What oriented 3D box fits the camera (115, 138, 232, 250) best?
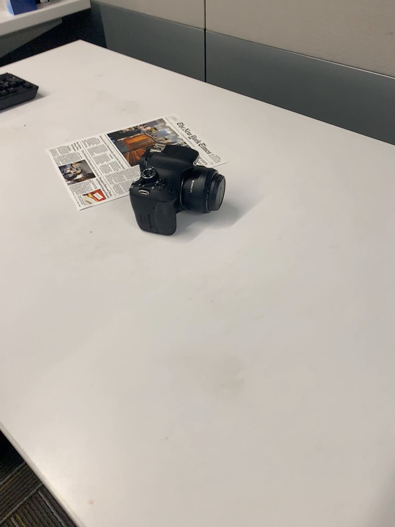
[{"bbox_3d":[-0.031,-0.116,0.641,0.136,0.084,0.152,11,47,13],"label":"camera"}]
